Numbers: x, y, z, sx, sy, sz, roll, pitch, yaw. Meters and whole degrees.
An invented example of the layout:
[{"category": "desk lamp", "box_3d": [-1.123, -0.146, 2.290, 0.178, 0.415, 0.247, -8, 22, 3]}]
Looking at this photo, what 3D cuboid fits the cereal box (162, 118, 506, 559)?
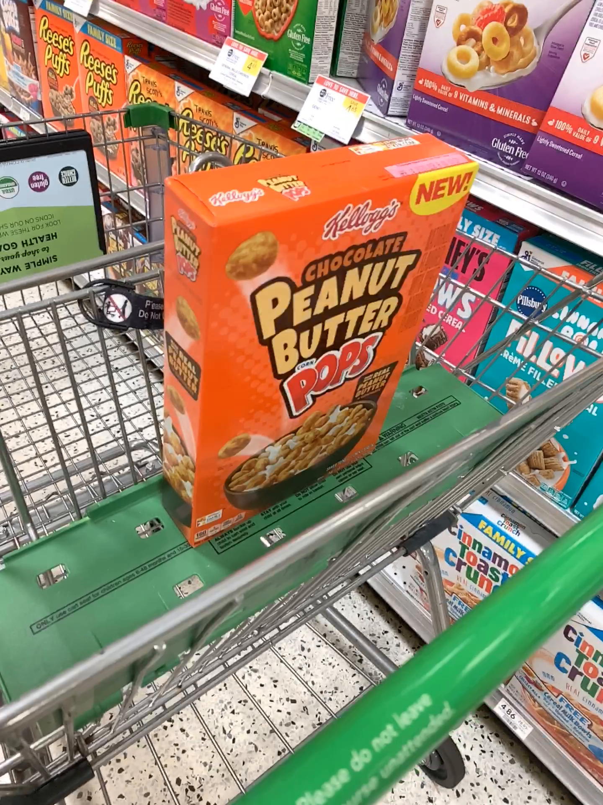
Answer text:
[{"category": "cereal box", "box_3d": [0.006, -0.032, 0.432, 0.201, 0.287, 0.050, -24, 56, -31]}]
